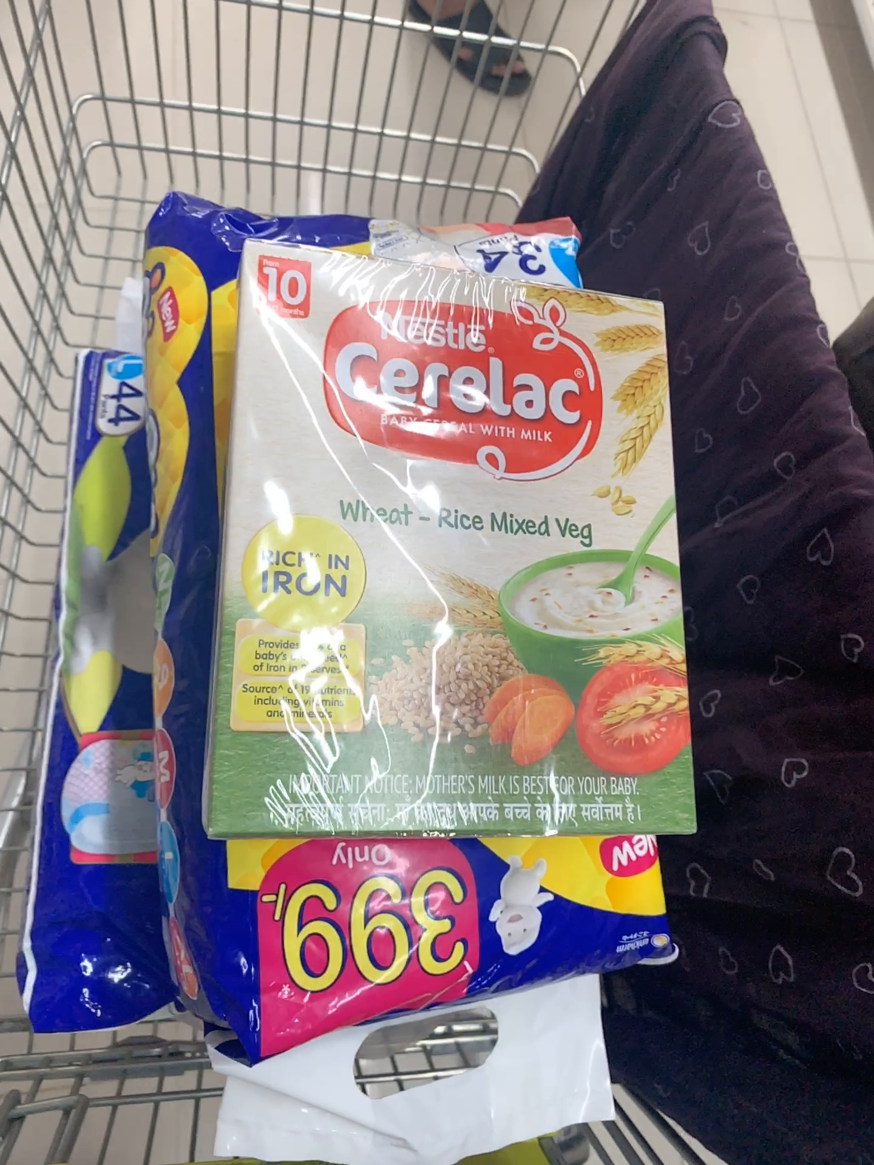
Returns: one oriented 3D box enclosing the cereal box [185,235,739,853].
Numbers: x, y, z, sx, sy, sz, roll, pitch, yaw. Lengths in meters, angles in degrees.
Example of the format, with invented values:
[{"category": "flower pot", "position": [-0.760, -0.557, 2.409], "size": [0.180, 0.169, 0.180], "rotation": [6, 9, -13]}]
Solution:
[{"category": "cereal box", "position": [0.006, -0.008, 0.296], "size": [0.160, 0.050, 0.180], "rotation": [3, 75, -15]}]
